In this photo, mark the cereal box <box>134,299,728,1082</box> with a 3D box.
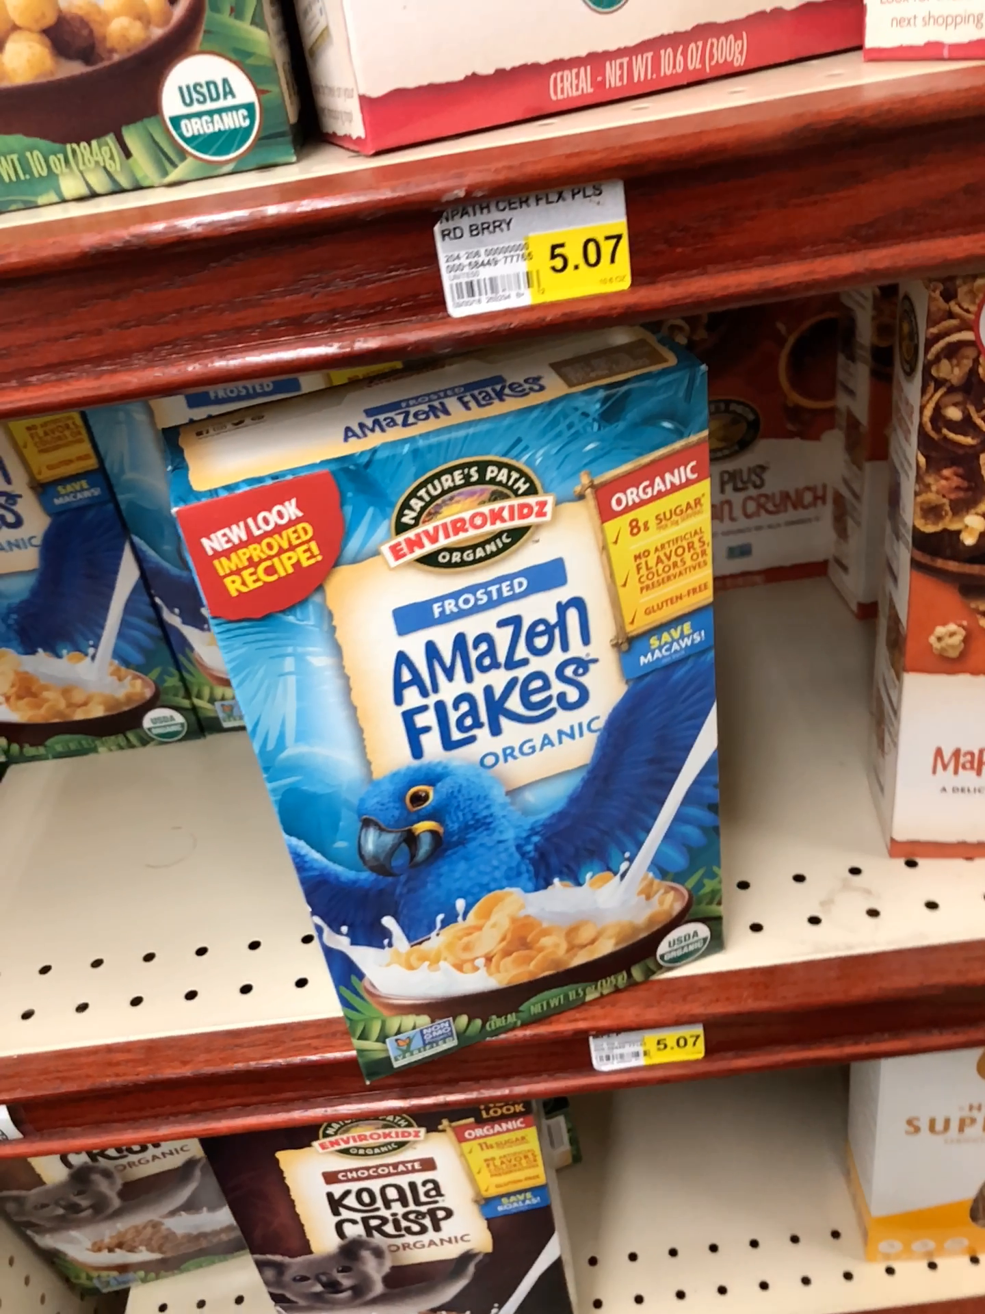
[{"bbox_3d":[-0.004,0.027,0.394,0.160,0.259,0.060,-17,37,-9],"label":"cereal box"}]
